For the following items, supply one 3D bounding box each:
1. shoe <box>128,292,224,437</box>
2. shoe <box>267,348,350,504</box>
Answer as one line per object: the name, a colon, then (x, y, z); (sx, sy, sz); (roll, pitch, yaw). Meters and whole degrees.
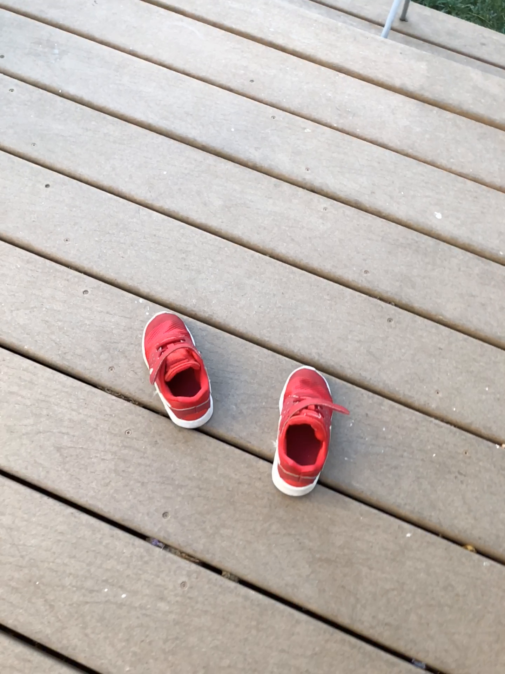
shoe: (-0.097, 0.033, 0.695); (0.073, 0.069, 0.153); (-16, 67, -13)
shoe: (0.069, 0.107, 0.673); (0.069, 0.069, 0.165); (11, 63, -1)
